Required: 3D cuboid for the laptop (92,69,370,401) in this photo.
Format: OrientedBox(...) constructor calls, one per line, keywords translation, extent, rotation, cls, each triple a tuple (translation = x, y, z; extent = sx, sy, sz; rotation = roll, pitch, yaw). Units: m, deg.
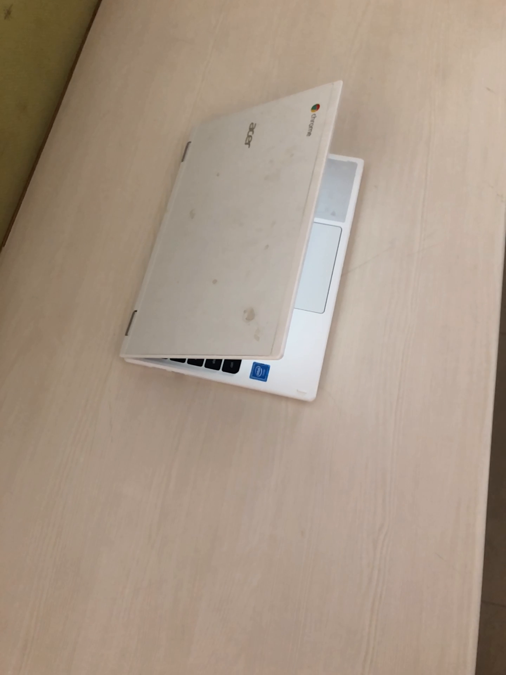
OrientedBox(translation=(-0.007, -0.107, 0.566), extent=(0.196, 0.105, 0.290), rotation=(11, 70, 6), cls="laptop")
